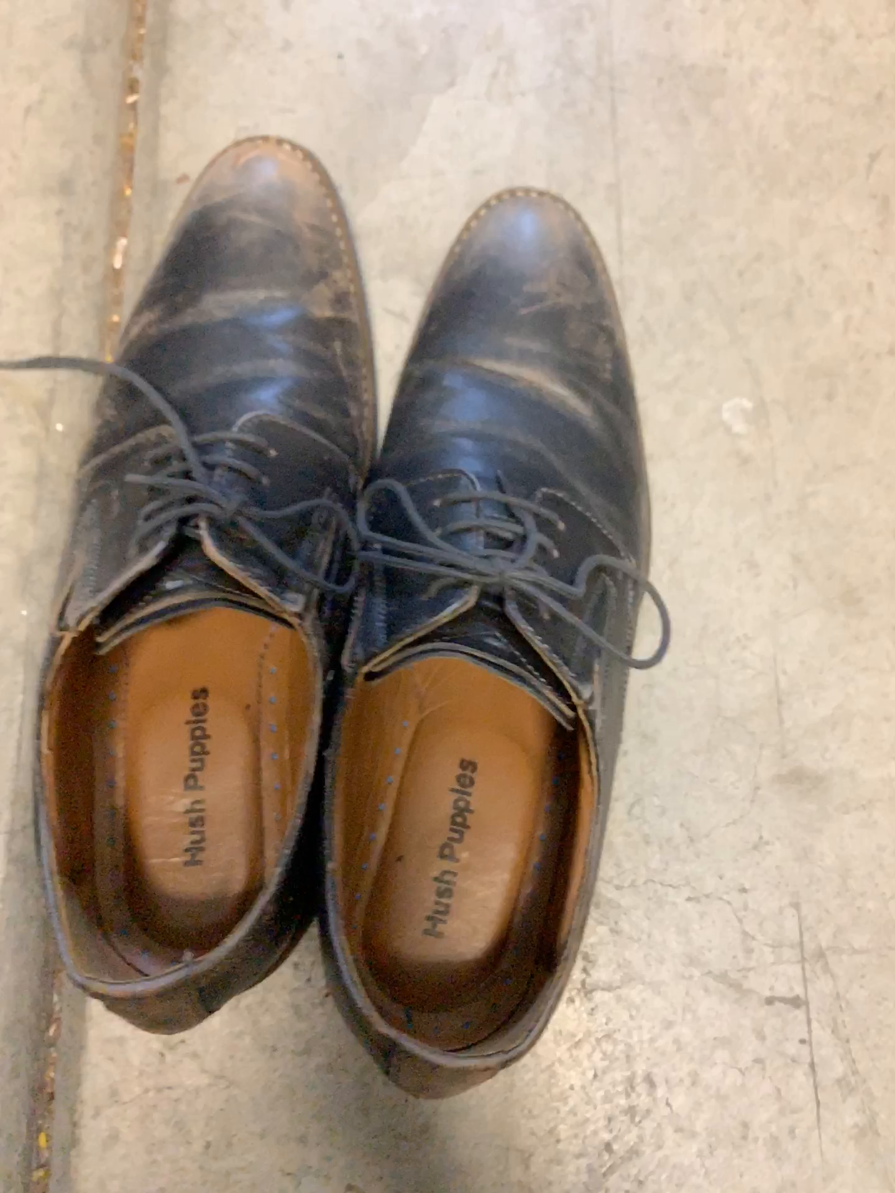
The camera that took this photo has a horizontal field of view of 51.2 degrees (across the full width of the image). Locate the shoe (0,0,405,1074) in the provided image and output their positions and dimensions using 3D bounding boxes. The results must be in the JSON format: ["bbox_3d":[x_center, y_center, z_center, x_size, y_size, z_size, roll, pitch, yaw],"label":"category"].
[{"bbox_3d":[-0.083,-0.030,0.313,0.110,0.120,0.310,5,79,-1],"label":"shoe"}]

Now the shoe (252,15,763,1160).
[{"bbox_3d":[0.023,-0.009,0.310,0.110,0.120,0.304,6,79,-1],"label":"shoe"}]
